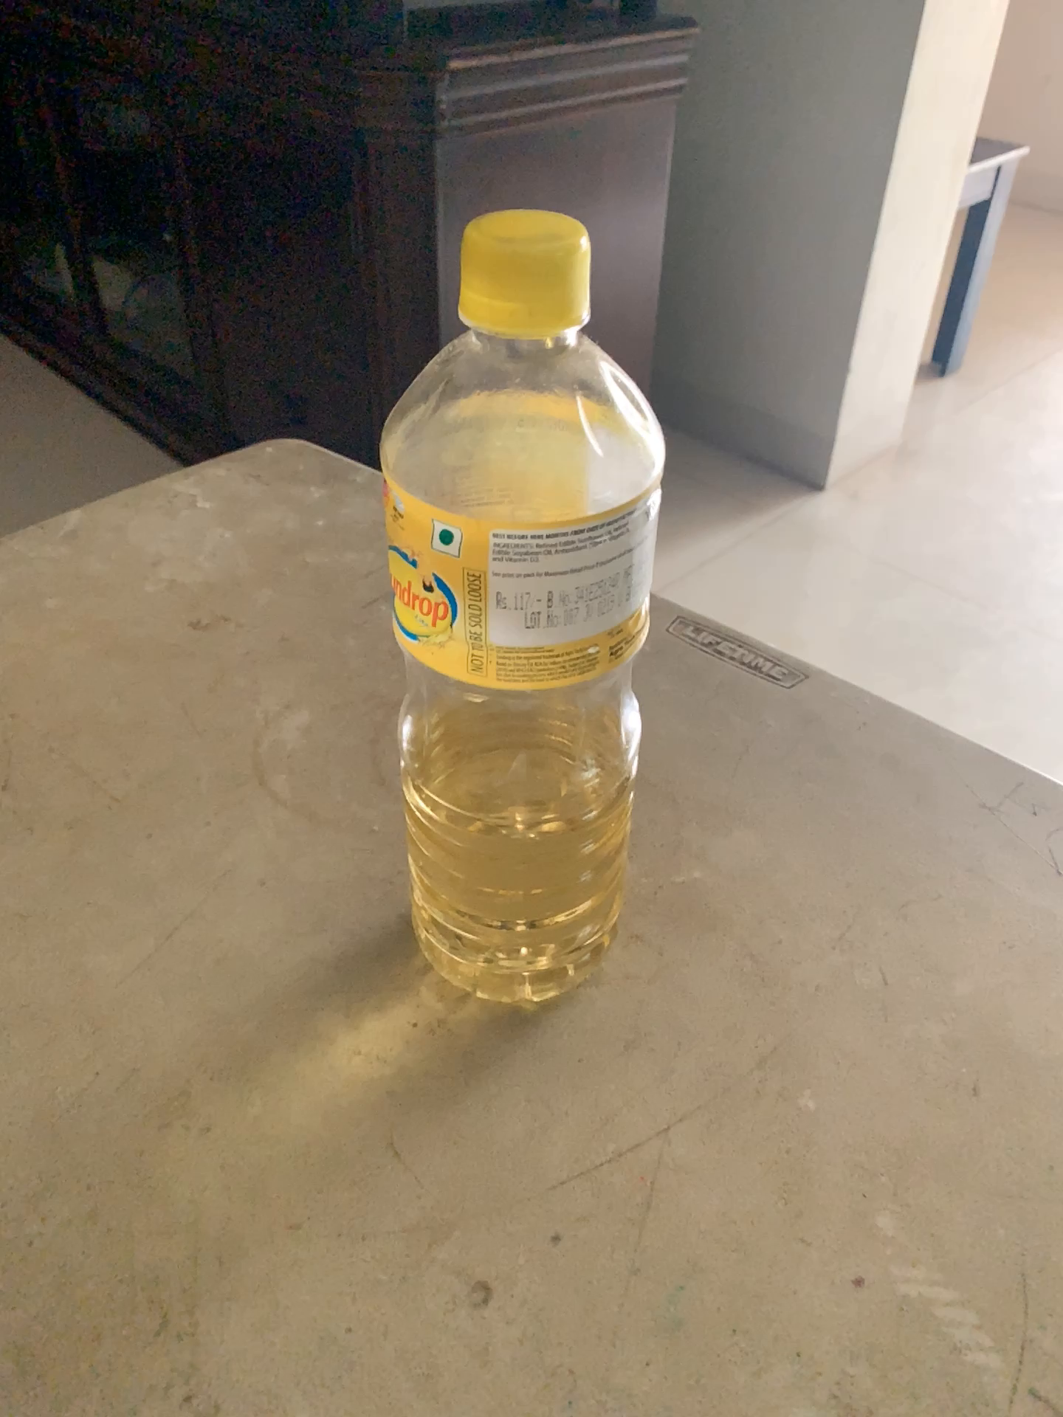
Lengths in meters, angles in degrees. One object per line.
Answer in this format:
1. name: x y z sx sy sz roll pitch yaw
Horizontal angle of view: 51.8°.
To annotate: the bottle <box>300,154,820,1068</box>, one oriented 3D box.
1. bottle: 0.002 -0.015 0.351 0.090 0.269 0.090 1 40 -1
